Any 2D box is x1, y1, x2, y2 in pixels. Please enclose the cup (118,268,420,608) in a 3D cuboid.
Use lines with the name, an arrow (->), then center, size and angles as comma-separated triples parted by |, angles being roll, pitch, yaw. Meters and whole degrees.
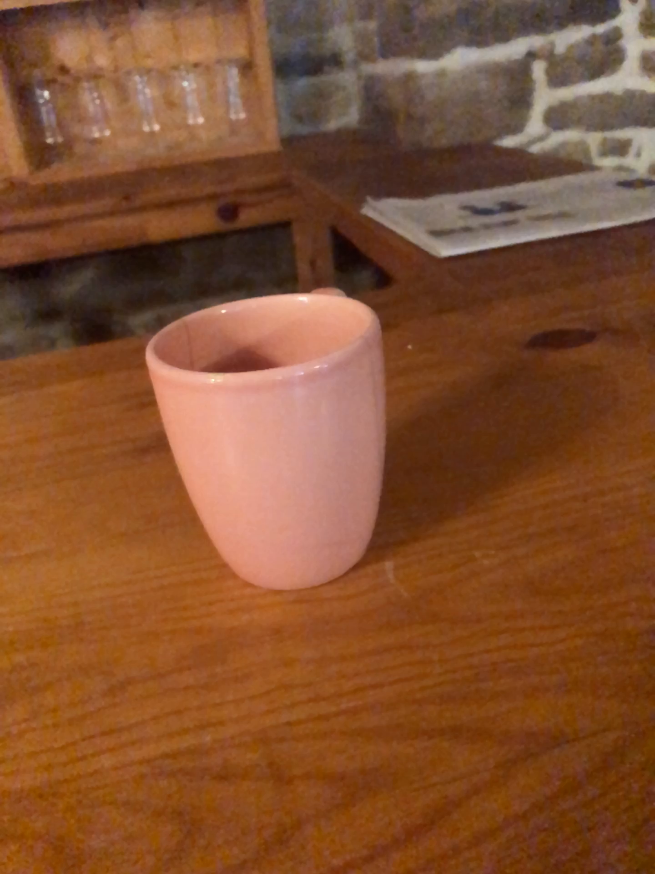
cup -> -0.012, -0.007, 0.312 | 0.090, 0.095, 0.122 | 0, 28, 12
